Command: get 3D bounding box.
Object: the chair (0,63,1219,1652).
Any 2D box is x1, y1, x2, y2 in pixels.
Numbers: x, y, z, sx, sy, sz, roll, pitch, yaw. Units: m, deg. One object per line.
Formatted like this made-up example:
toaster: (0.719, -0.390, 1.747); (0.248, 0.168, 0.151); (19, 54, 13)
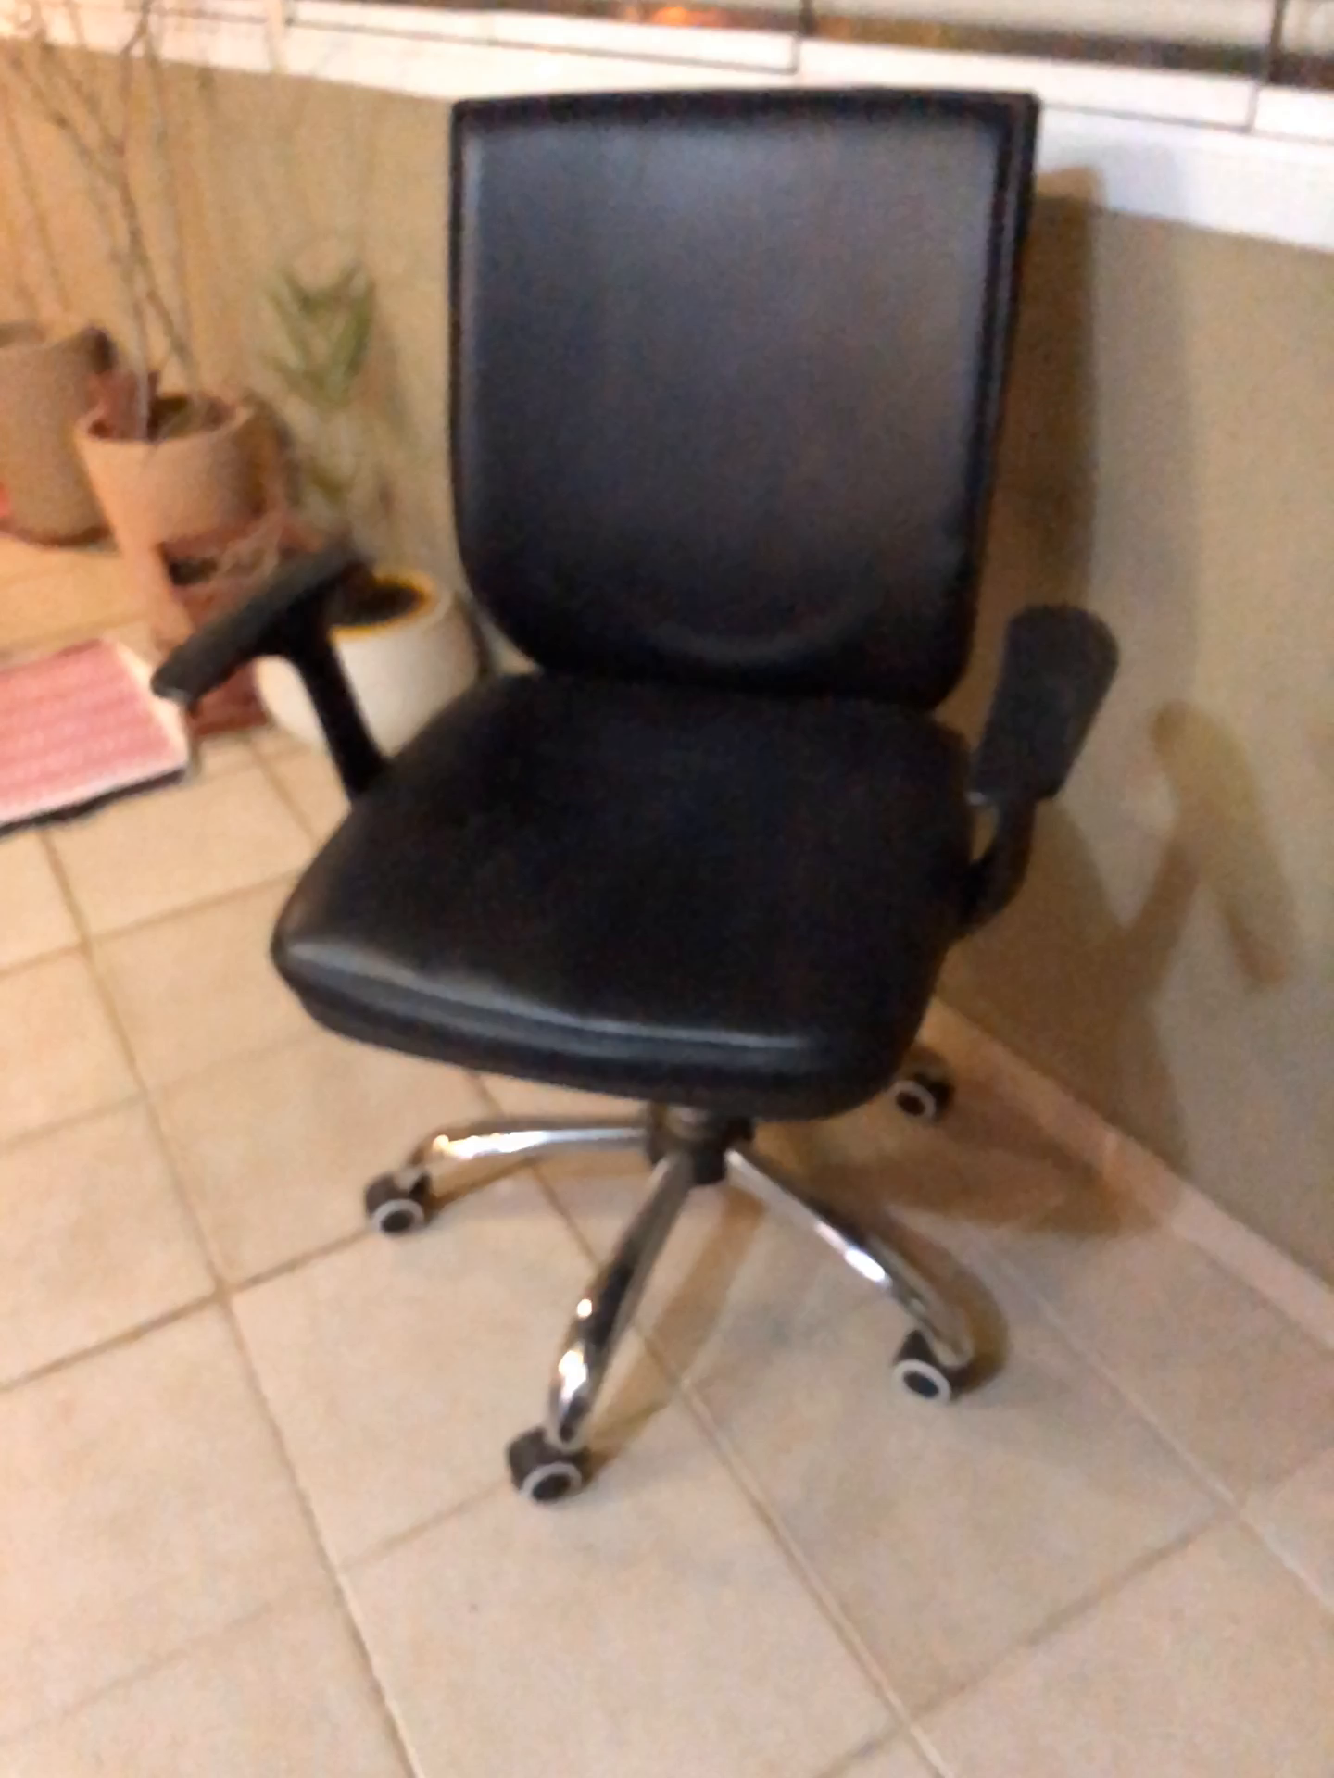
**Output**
chair: (-0.003, -0.064, 1.169); (0.661, 0.932, 0.665); (9, 37, 18)
